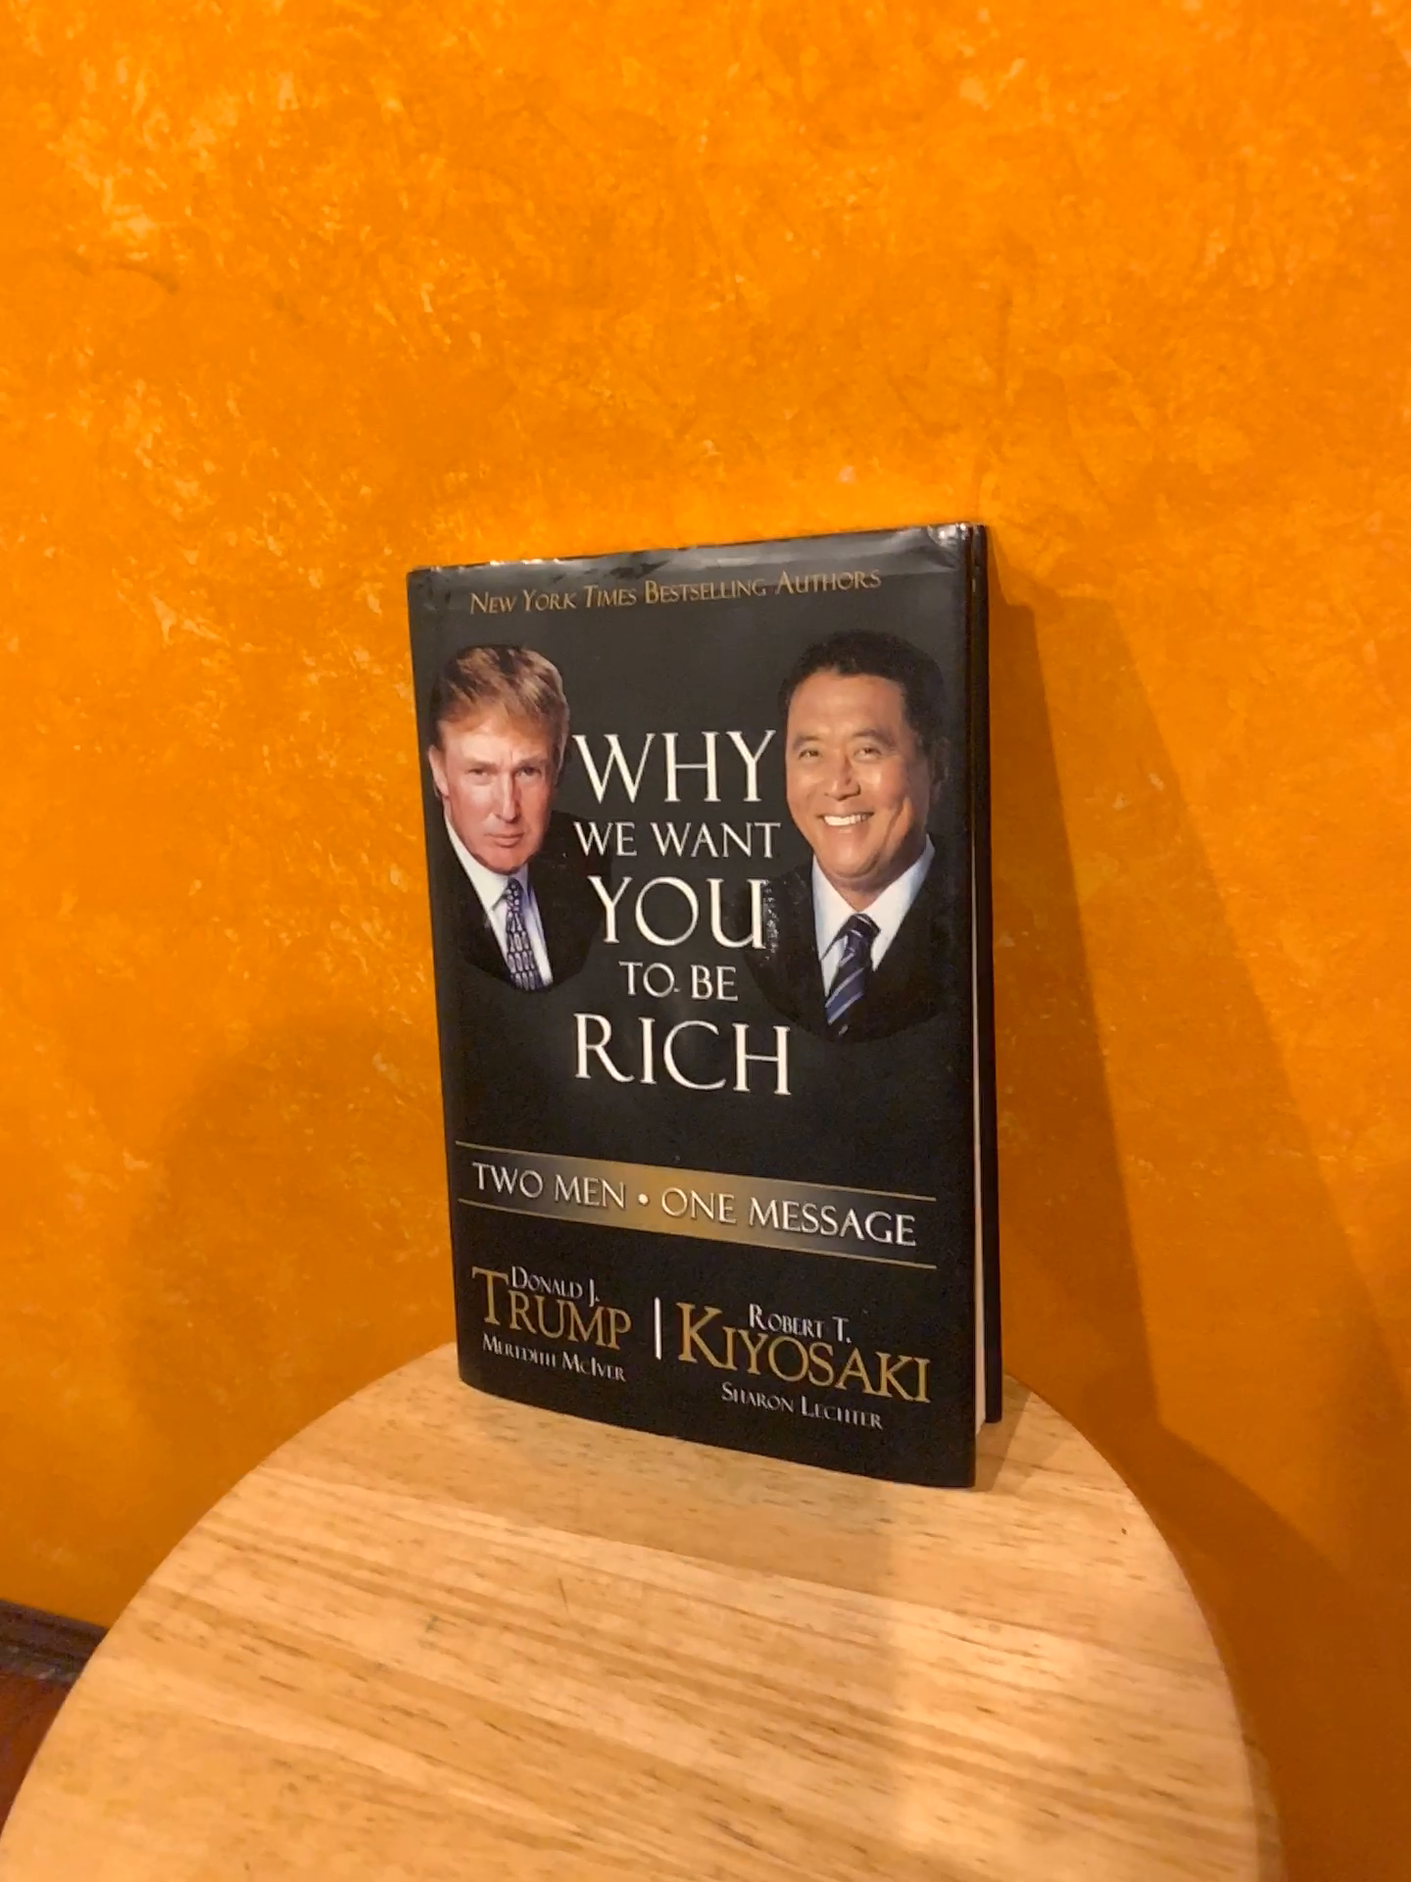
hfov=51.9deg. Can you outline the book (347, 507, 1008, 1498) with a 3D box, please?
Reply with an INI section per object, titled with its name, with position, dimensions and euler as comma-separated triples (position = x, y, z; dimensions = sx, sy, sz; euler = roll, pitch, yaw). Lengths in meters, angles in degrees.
[book]
position = -0.006, 0.011, 0.355
dimensions = 0.151, 0.210, 0.044
euler = 3, 11, 27
